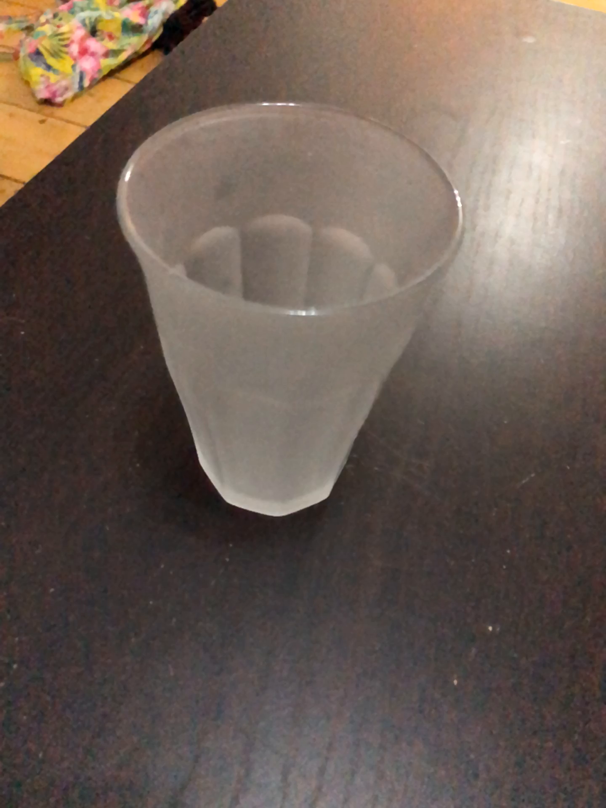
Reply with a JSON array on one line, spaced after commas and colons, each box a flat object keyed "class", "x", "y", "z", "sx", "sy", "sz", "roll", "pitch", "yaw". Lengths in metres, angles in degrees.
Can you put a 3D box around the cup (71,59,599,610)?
[{"class": "cup", "x": -0.001, "y": -0.017, "z": 0.213, "sx": 0.100, "sy": 0.129, "sz": 0.090, "roll": -16, "pitch": 56, "yaw": -17}]
